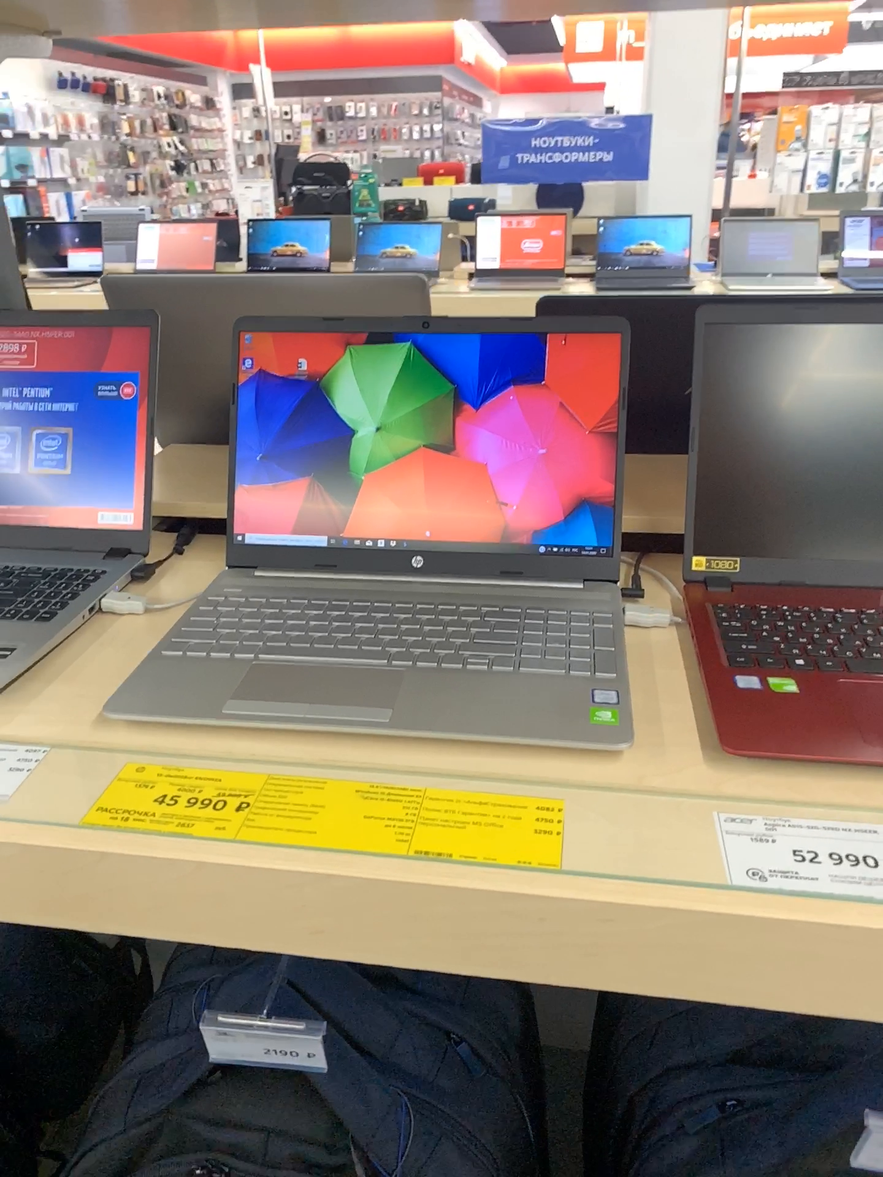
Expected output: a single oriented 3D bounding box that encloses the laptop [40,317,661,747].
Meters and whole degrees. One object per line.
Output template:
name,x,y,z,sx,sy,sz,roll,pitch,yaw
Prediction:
laptop,-0.032,-0.077,0.708,0.359,0.209,0.349,2,25,8
